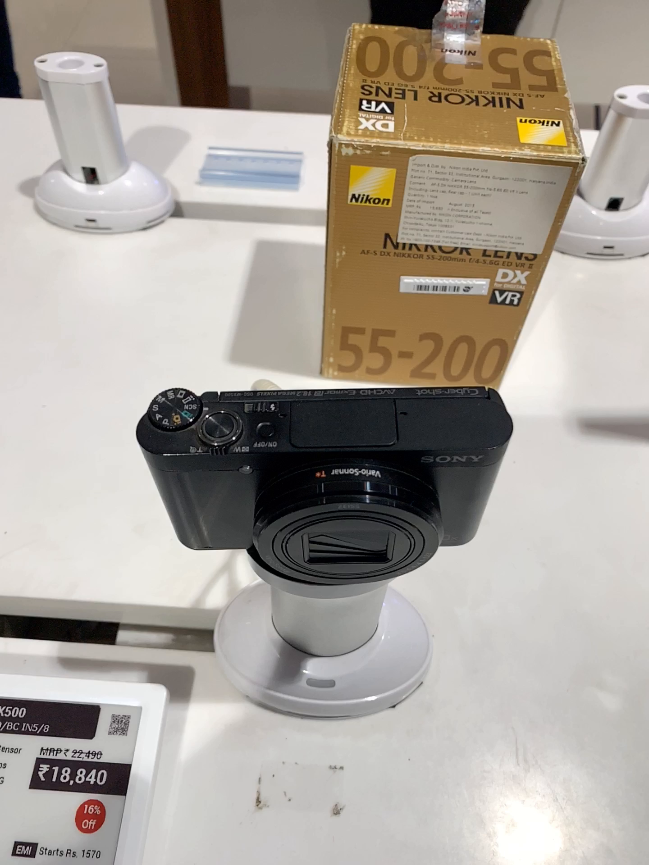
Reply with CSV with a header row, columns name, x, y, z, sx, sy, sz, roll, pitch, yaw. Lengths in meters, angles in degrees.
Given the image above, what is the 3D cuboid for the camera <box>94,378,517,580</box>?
name,x,y,z,sx,sy,sz,roll,pitch,yaw
camera,-0.005,0.016,0.192,0.100,0.060,0.030,0,54,-2
